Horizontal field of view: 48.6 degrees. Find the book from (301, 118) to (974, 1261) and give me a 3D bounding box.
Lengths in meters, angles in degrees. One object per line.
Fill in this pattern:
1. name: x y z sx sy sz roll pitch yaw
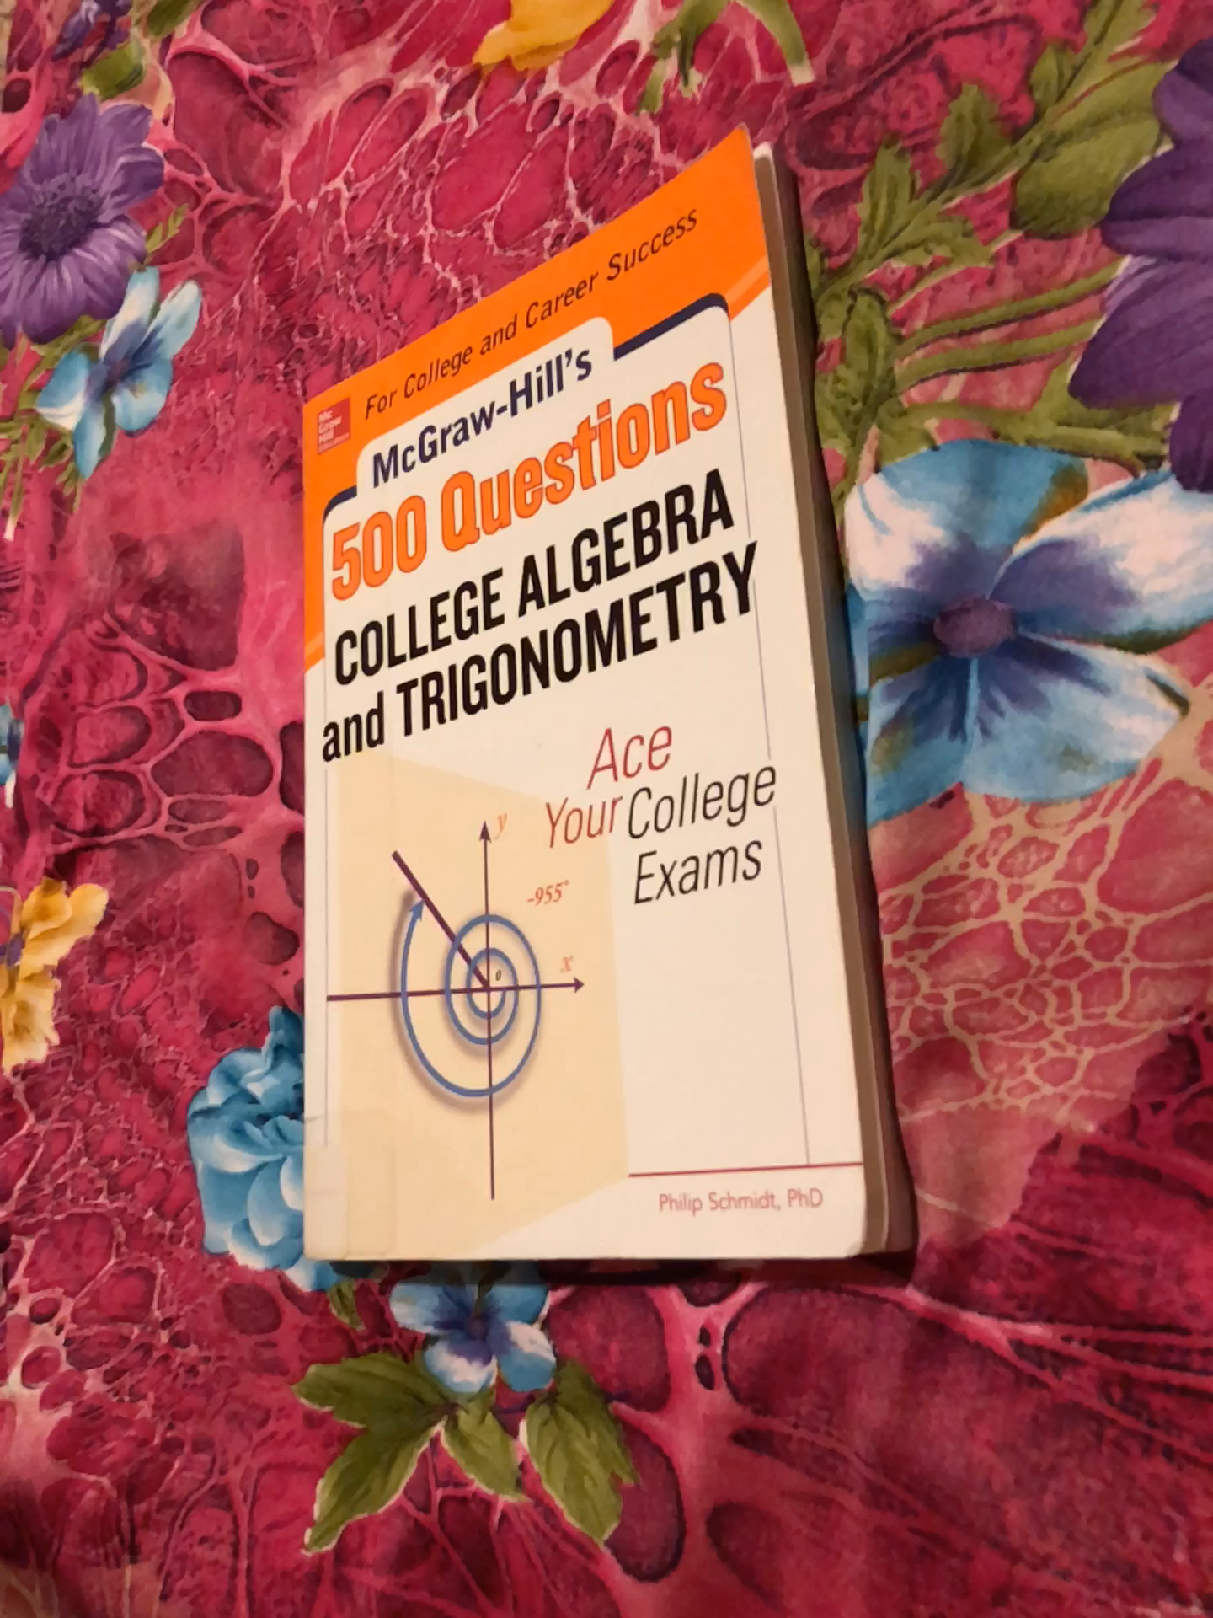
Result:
1. book: -0.009 -0.016 0.301 0.157 0.022 0.220 -14 73 37
